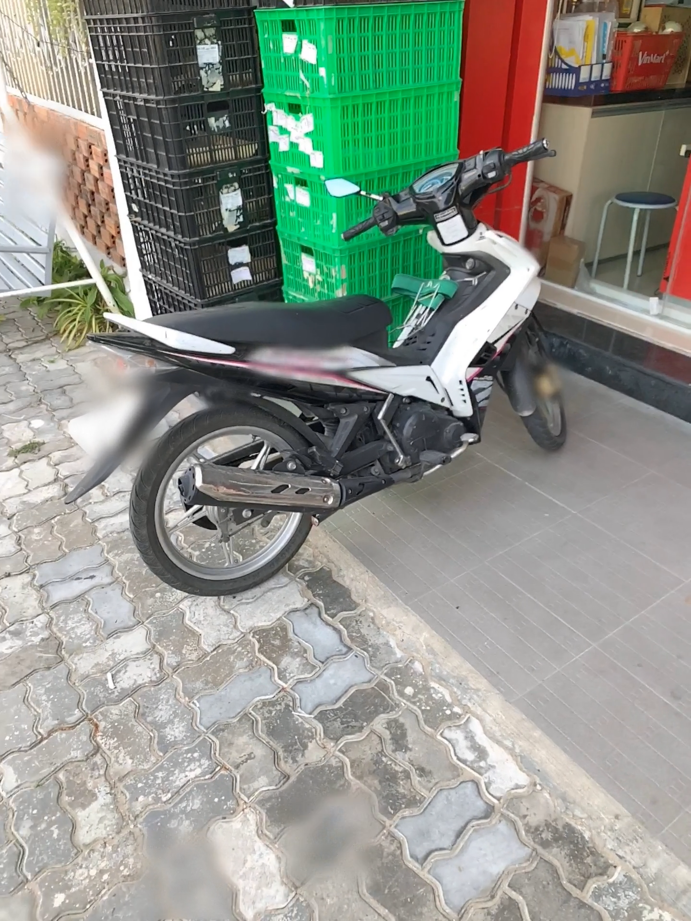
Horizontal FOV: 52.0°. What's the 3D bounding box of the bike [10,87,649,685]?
[{"bbox_3d":[0.077,-0.410,2.281,1.817,1.186,0.669,-27,40,-32],"label":"bike"}]
